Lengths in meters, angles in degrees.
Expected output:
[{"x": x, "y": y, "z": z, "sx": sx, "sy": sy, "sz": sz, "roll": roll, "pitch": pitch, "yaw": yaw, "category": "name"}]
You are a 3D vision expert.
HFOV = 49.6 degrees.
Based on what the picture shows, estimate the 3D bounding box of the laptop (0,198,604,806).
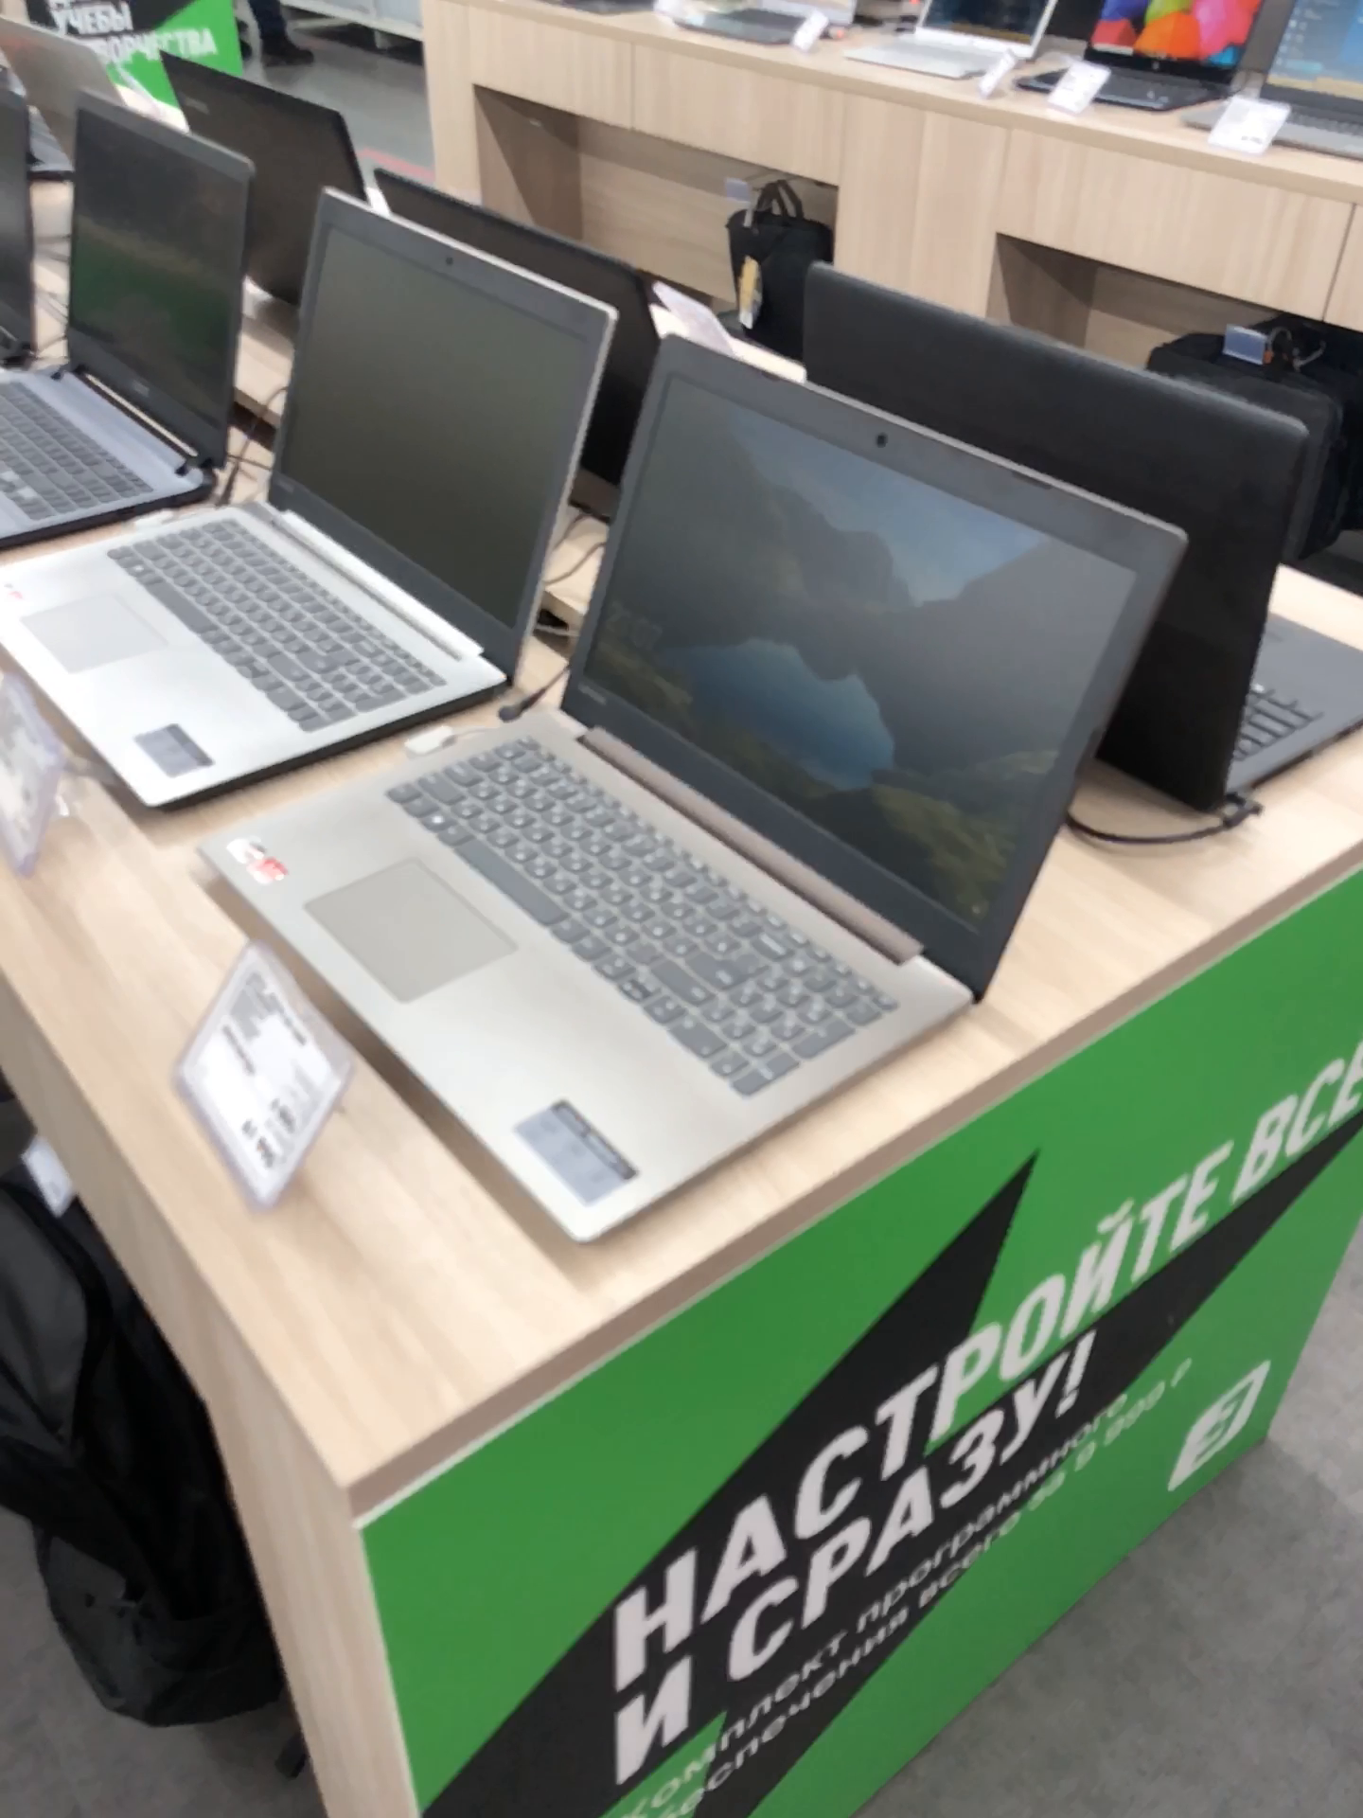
[{"x": -0.280, "y": -0.293, "z": 0.969, "sx": 0.323, "sy": 0.207, "sz": 0.344, "roll": -27, "pitch": 46, "yaw": -30, "category": "laptop"}]

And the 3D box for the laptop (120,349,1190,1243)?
[{"x": -0.024, "y": -0.093, "z": 0.721, "sx": 0.329, "sy": 0.209, "sz": 0.351, "roll": -26, "pitch": 44, "yaw": -29, "category": "laptop"}]
